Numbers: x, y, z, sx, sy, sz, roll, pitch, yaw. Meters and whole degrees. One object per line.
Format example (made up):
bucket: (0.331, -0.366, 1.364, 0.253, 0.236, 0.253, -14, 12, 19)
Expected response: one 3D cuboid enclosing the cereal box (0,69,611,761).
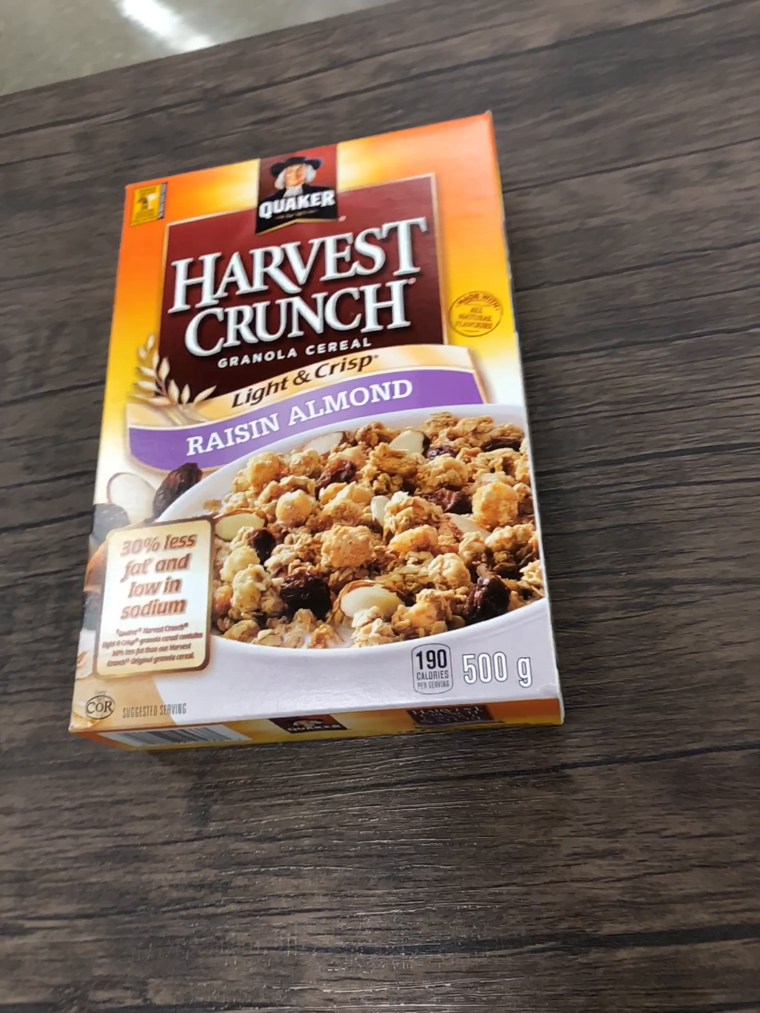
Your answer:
cereal box: (-0.027, -0.035, 0.306, 0.180, 0.050, 0.230, -6, 67, 10)
